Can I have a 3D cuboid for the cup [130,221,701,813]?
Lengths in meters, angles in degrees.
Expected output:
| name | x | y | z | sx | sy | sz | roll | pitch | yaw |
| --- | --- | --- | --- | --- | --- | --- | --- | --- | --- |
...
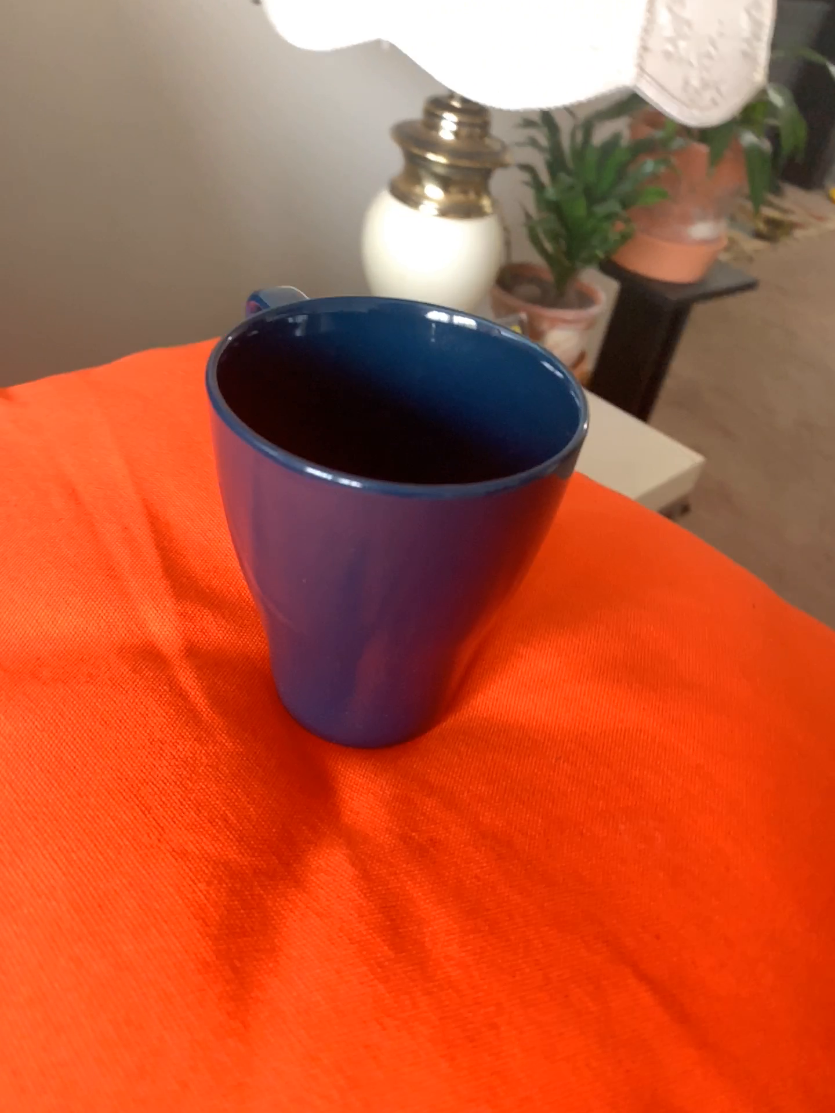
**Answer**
| name | x | y | z | sx | sy | sz | roll | pitch | yaw |
| --- | --- | --- | --- | --- | --- | --- | --- | --- | --- |
| cup | -0.013 | -0.021 | 0.215 | 0.080 | 0.079 | 0.121 | -13 | 44 | -27 |
